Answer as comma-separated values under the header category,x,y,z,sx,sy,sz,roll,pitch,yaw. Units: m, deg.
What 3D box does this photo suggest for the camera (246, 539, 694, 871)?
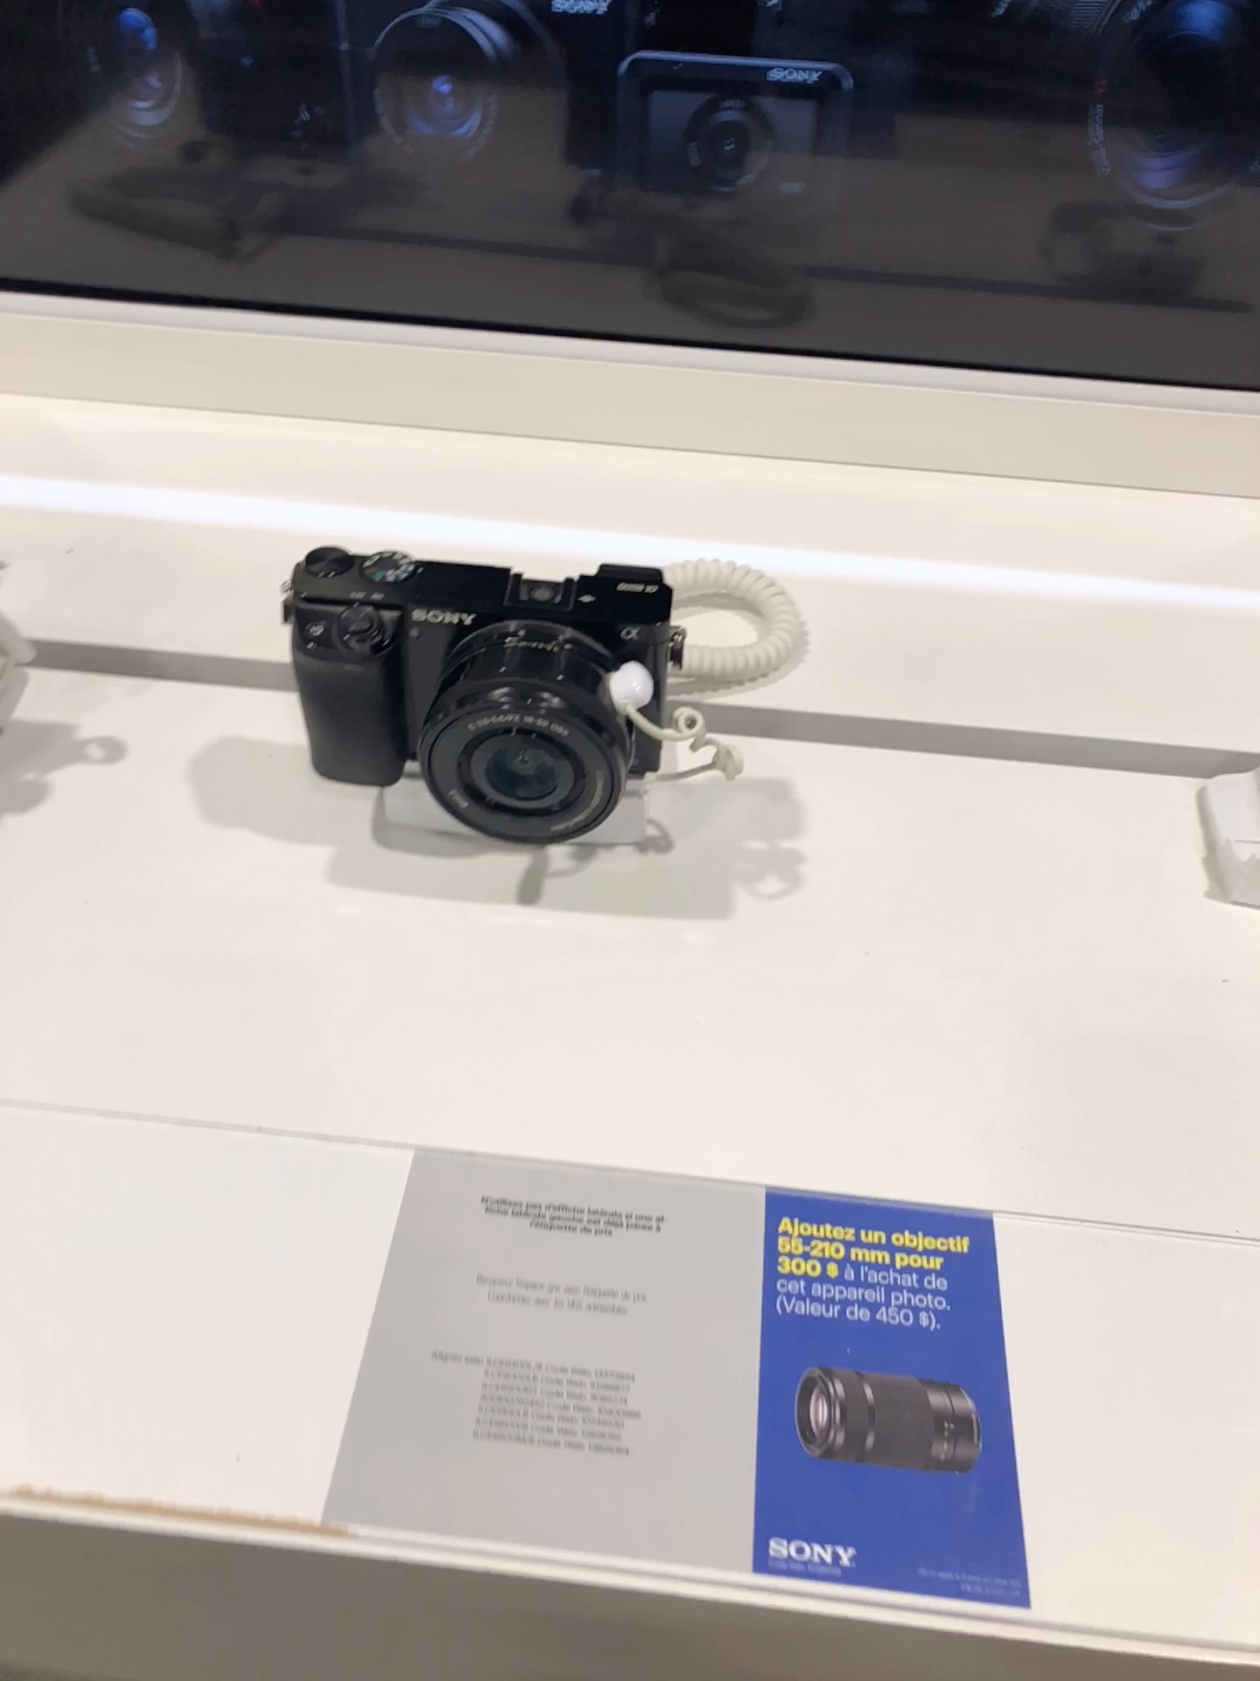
category,x,y,z,sx,sy,sz,roll,pitch,yaw
camera,-0.047,-0.045,0.460,0.130,0.077,0.065,4,44,3
